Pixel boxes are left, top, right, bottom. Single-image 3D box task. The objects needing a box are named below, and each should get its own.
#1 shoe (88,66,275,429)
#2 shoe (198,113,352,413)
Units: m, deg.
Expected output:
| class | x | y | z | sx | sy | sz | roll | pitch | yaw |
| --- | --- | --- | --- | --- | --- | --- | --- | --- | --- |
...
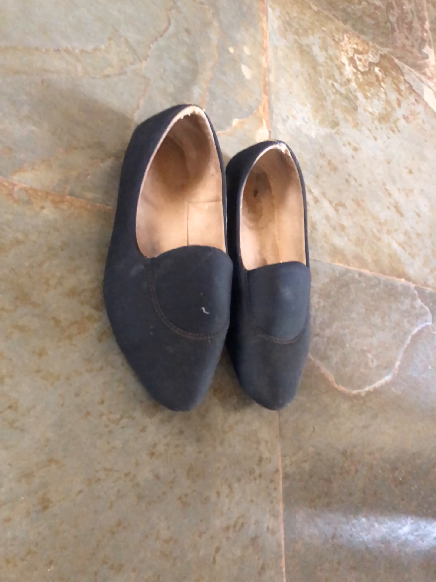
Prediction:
| class | x | y | z | sx | sy | sz | roll | pitch | yaw |
| --- | --- | --- | --- | --- | --- | --- | --- | --- | --- |
| shoe | -0.037 | -0.031 | 0.402 | 0.110 | 0.080 | 0.270 | 4 | 74 | -34 |
| shoe | 0.050 | -0.021 | 0.475 | 0.110 | 0.080 | 0.271 | 9 | 71 | -33 |
